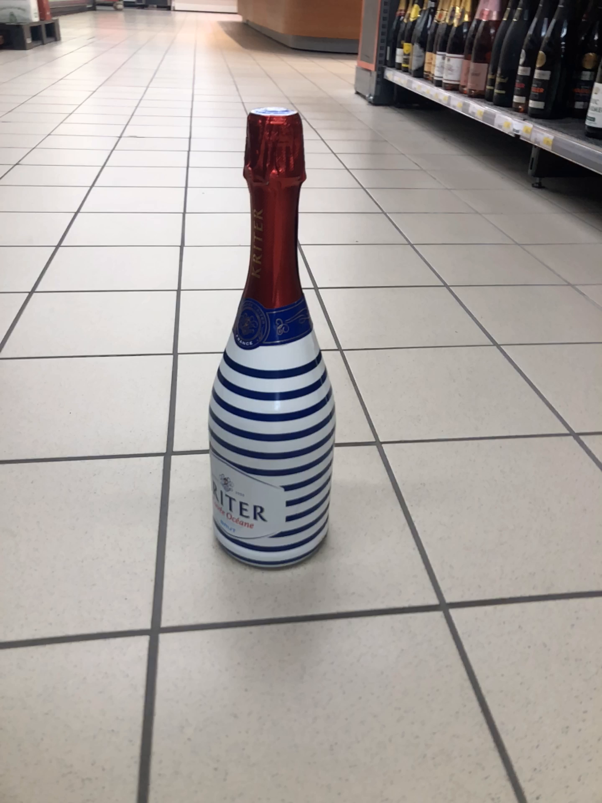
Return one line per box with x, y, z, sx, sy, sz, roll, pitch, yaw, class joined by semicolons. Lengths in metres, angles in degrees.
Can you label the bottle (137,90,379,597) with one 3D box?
-0.030;-0.033;0.440;0.100;0.308;0.090;25;36;35;bottle
